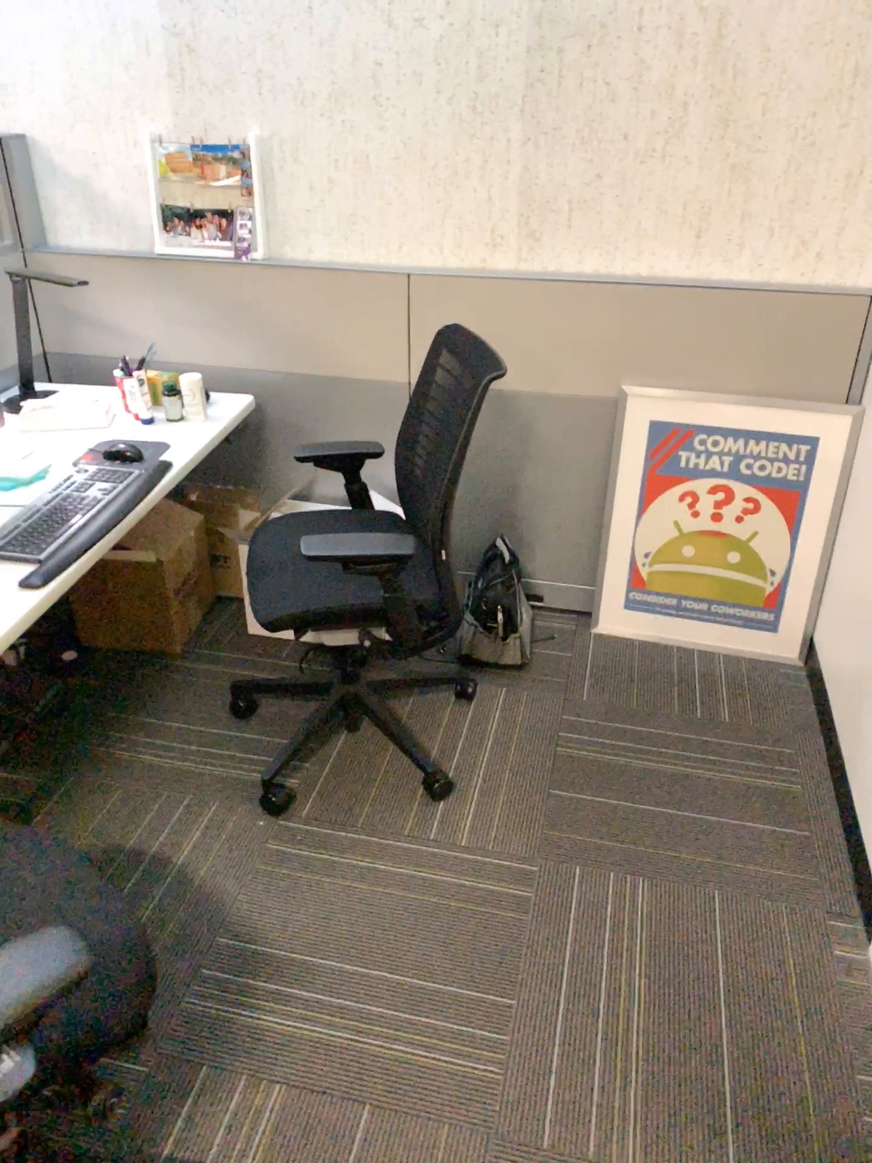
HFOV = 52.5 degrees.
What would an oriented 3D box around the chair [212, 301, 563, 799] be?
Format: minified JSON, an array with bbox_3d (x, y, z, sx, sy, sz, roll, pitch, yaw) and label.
[{"bbox_3d":[-0.151,-0.111,2.173,0.650,0.954,0.674,-7,30,-12],"label":"chair"}]
